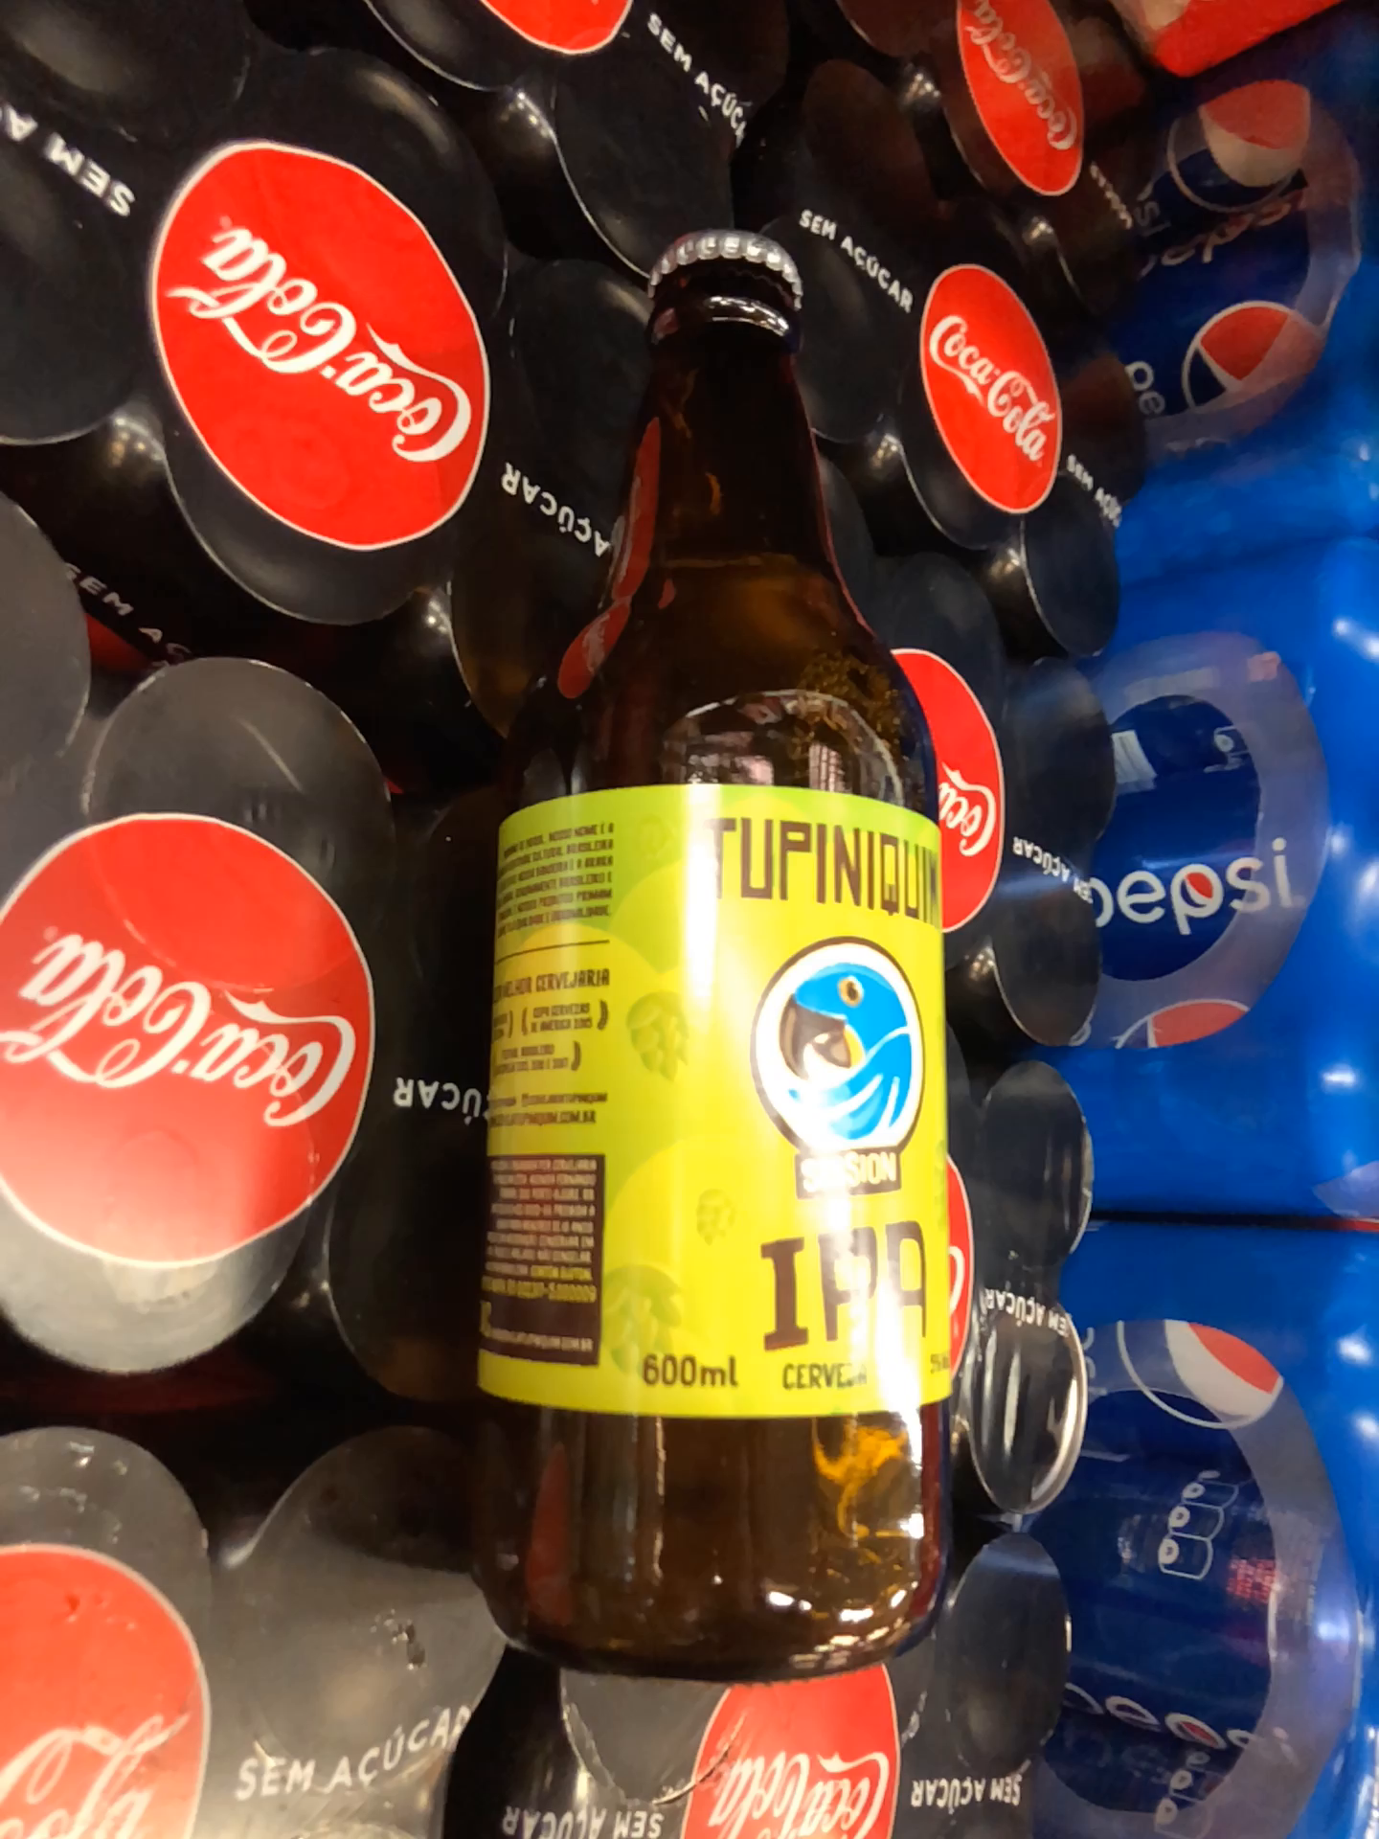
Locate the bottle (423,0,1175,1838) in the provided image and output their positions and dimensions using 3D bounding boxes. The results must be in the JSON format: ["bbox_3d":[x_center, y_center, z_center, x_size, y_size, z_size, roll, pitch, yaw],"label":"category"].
[{"bbox_3d":[0.018,-0.014,0.251,0.091,0.070,0.260,10,76,-44],"label":"bottle"}]
